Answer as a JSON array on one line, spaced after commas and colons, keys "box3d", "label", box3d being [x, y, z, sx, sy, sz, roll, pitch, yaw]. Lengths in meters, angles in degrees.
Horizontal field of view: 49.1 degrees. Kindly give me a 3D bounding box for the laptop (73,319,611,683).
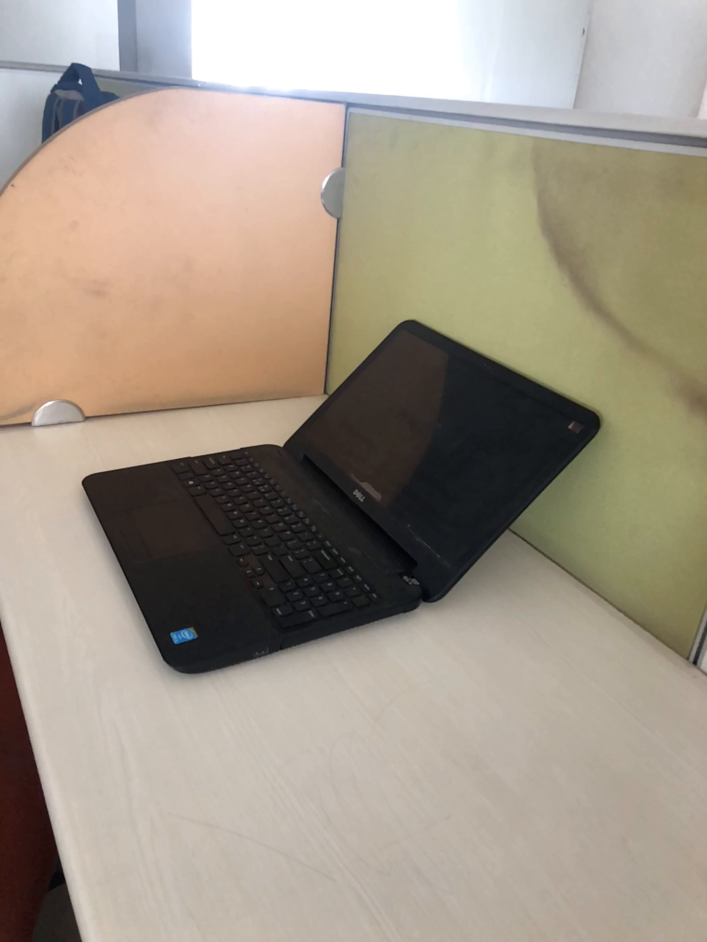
[{"box3d": [-0.032, -0.015, 0.817, 0.427, 0.158, 0.357, -11, 31, -27], "label": "laptop"}]
